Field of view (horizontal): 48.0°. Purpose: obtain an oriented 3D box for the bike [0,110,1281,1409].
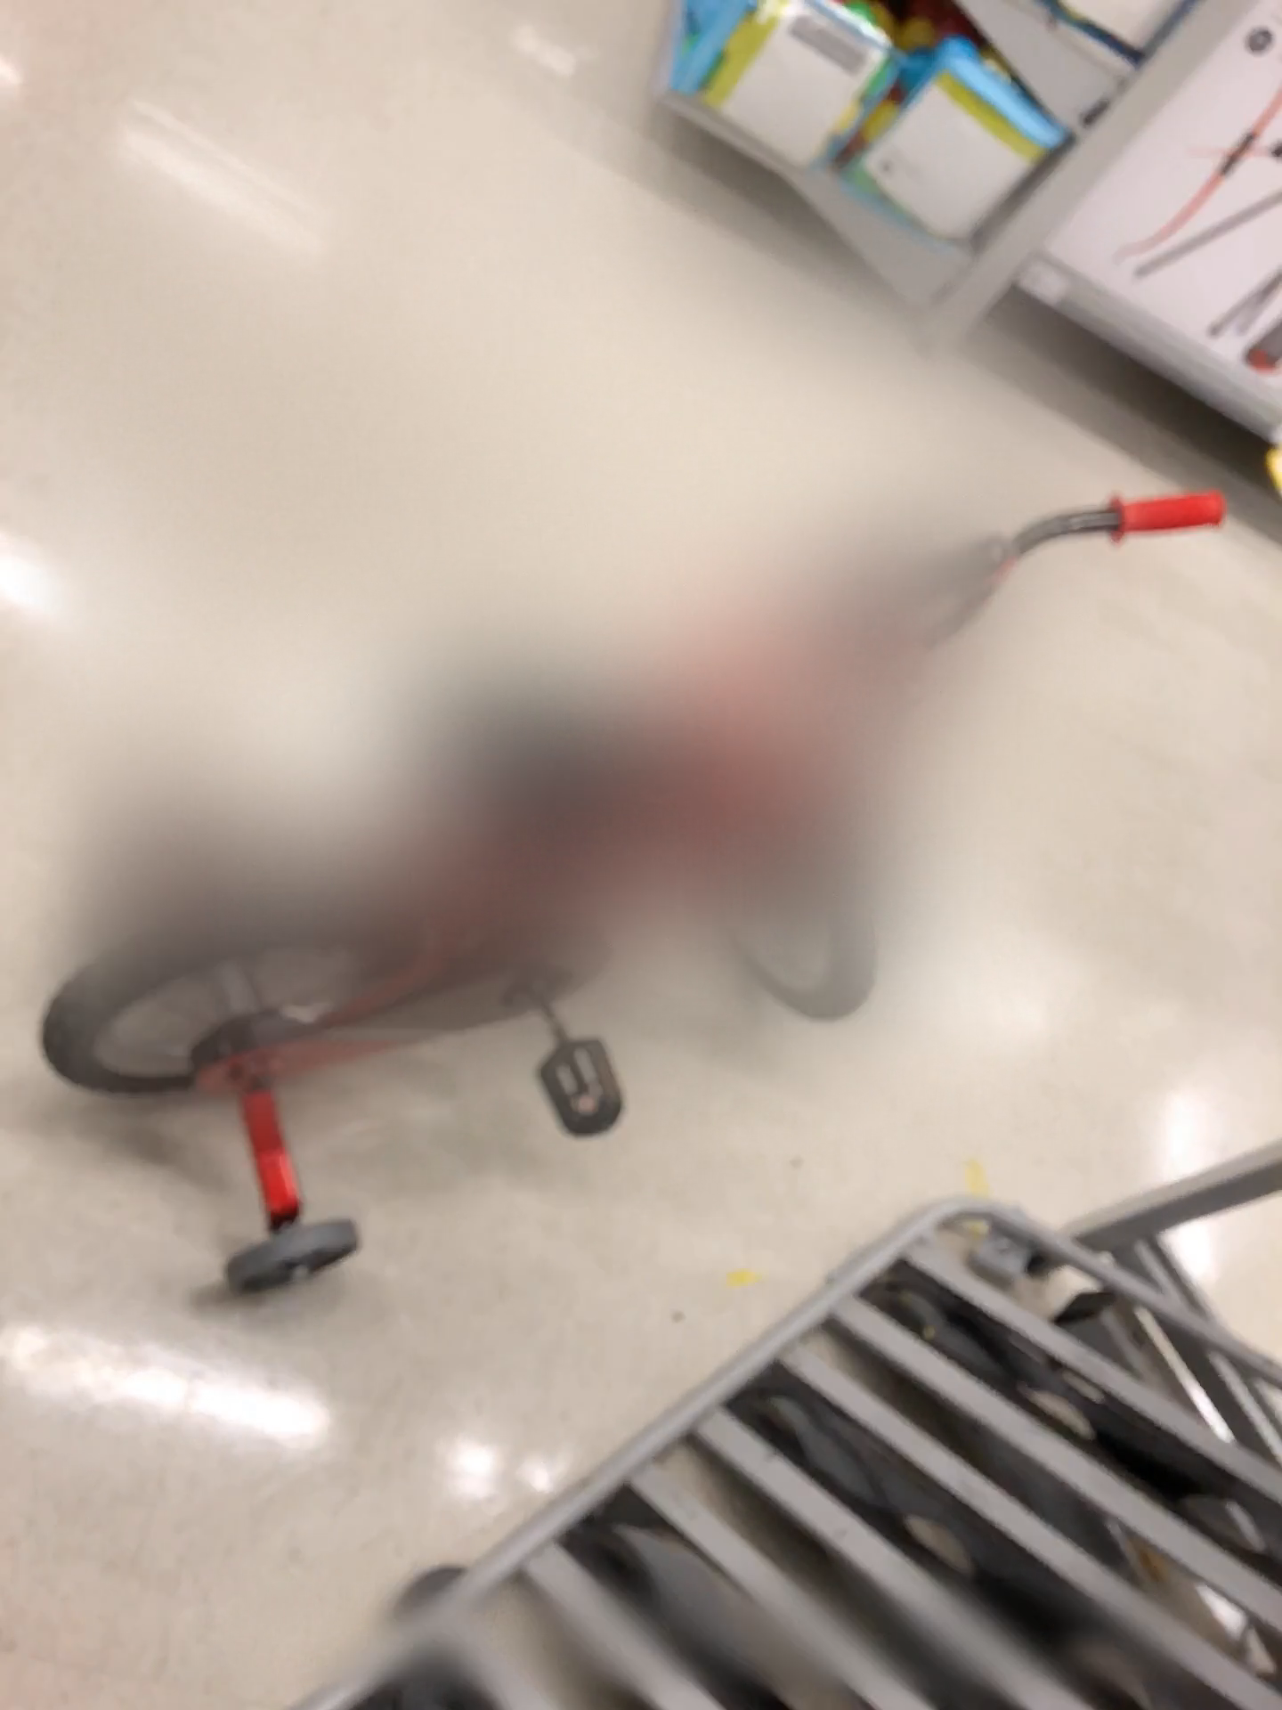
[{"bbox_3d":[-0.058,-0.078,1.096,0.701,0.679,0.532,-21,75,-38],"label":"bike"}]
